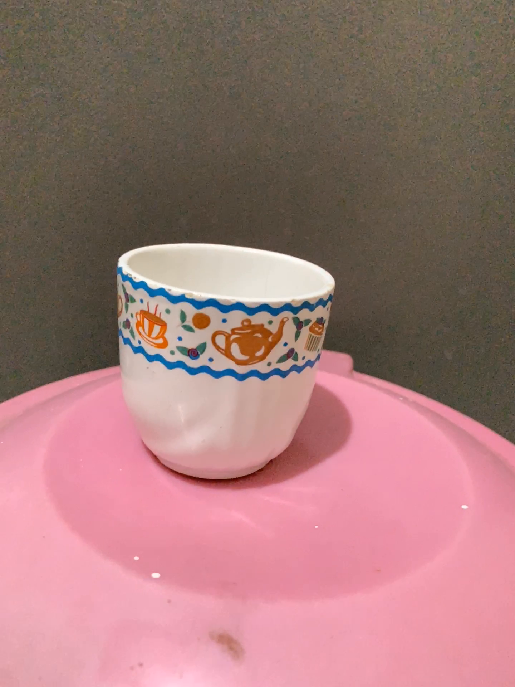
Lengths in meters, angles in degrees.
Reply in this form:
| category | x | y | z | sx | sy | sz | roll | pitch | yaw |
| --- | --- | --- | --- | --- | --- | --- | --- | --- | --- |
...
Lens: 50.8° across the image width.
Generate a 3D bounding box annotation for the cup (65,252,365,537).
| category | x | y | z | sx | sy | sz | roll | pitch | yaw |
| --- | --- | --- | --- | --- | --- | --- | --- | --- | --- |
| cup | -0.012 | 0.008 | 0.183 | 0.070 | 0.060 | 0.070 | 5 | 18 | -2 |
